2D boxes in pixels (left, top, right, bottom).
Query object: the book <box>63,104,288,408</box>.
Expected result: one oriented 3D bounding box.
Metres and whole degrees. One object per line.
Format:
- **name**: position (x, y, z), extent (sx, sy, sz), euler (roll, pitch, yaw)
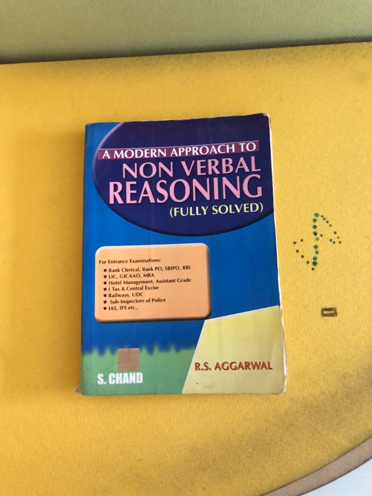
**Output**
- **book**: position (-0.011, 0.004, 0.349), extent (0.170, 0.040, 0.240), euler (-2, 80, 3)
